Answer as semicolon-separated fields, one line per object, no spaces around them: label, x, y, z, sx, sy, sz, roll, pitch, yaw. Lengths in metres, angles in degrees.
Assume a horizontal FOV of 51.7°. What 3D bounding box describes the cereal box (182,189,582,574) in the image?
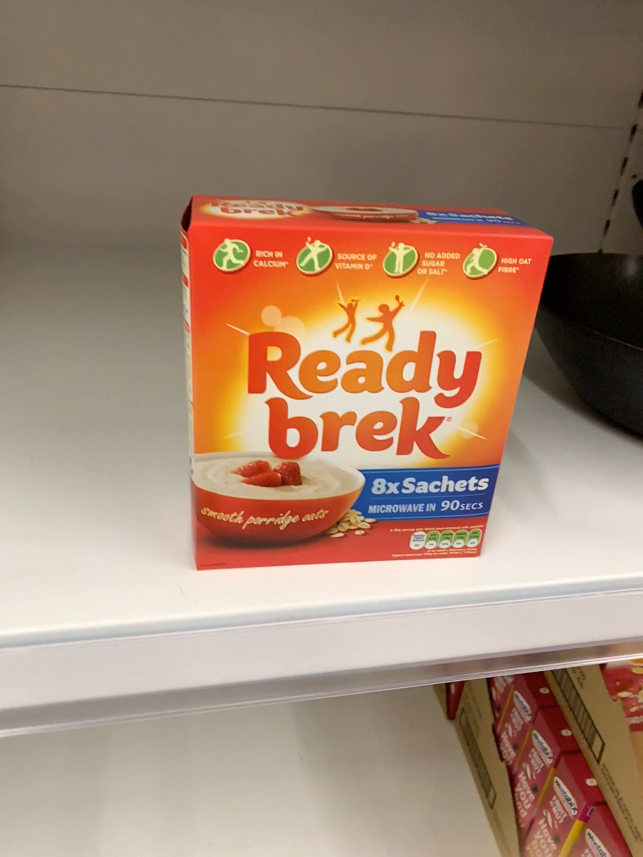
cereal box;0.018;-0.022;0.364;0.180;0.188;0.071;-1;29;-10
